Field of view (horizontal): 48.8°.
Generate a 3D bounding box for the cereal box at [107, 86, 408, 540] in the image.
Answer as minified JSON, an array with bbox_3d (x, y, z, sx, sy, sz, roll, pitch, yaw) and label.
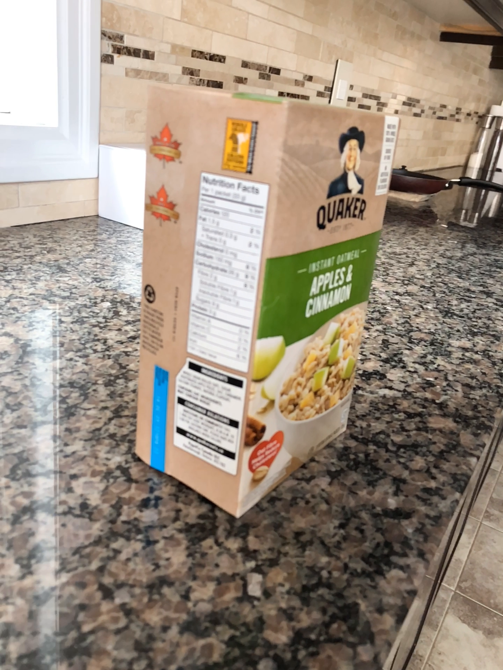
[{"bbox_3d":[0.000,-0.020,0.321,0.090,0.209,0.130,22,26,31],"label":"cereal box"}]
